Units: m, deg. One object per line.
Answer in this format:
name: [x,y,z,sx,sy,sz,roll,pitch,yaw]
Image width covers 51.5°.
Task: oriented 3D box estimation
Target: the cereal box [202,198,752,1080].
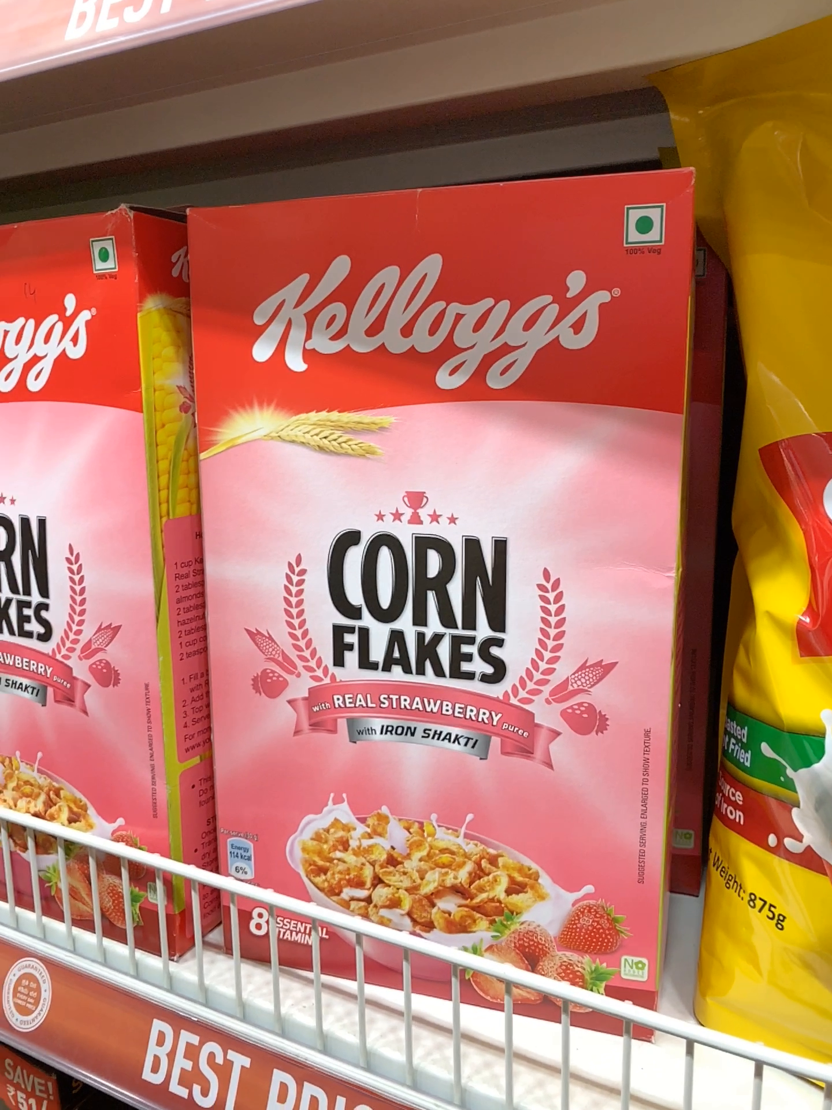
cereal box: [0.025,0.024,0.324,0.170,0.269,0.090,2,10,18]
